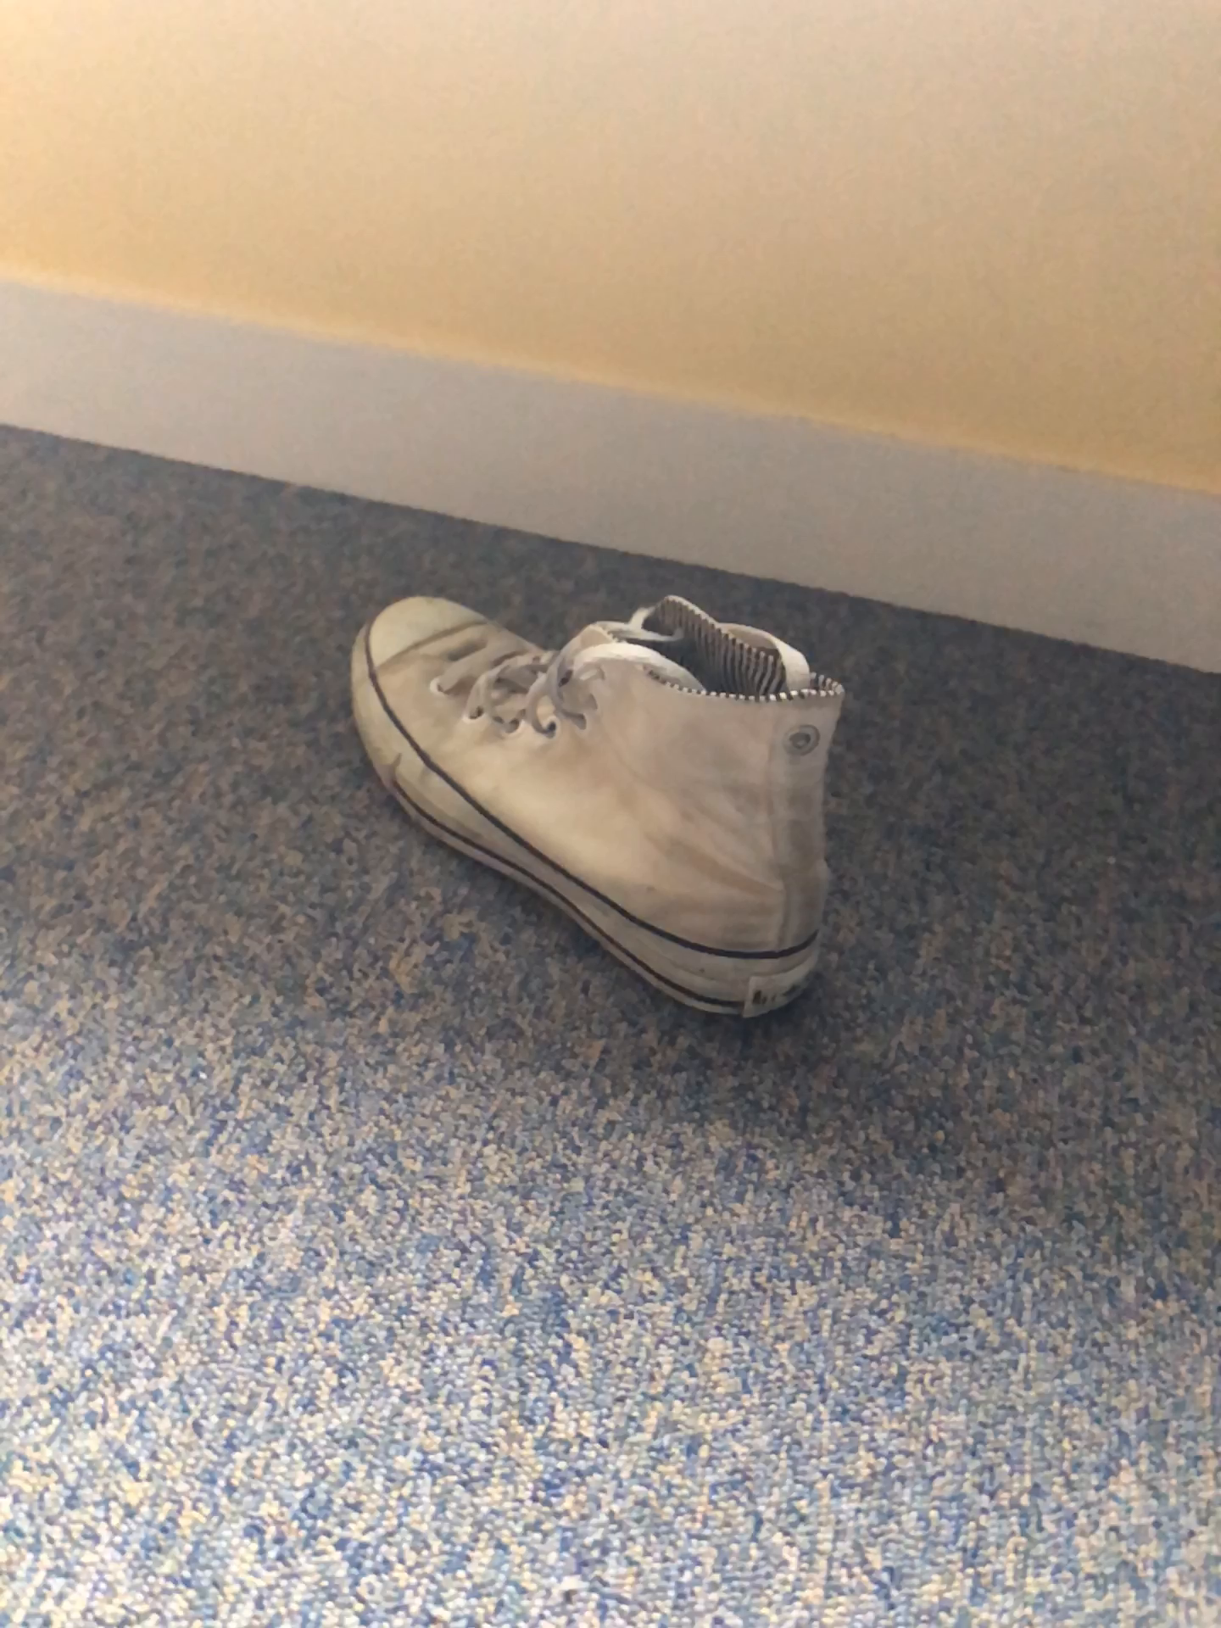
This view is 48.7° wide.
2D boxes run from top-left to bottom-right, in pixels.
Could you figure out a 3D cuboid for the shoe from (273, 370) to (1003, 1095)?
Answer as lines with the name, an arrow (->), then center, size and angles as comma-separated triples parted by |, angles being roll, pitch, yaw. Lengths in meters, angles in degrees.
shoe -> -0.005, -0.043, 0.497 | 0.101, 0.139, 0.250 | -29, 51, -34
